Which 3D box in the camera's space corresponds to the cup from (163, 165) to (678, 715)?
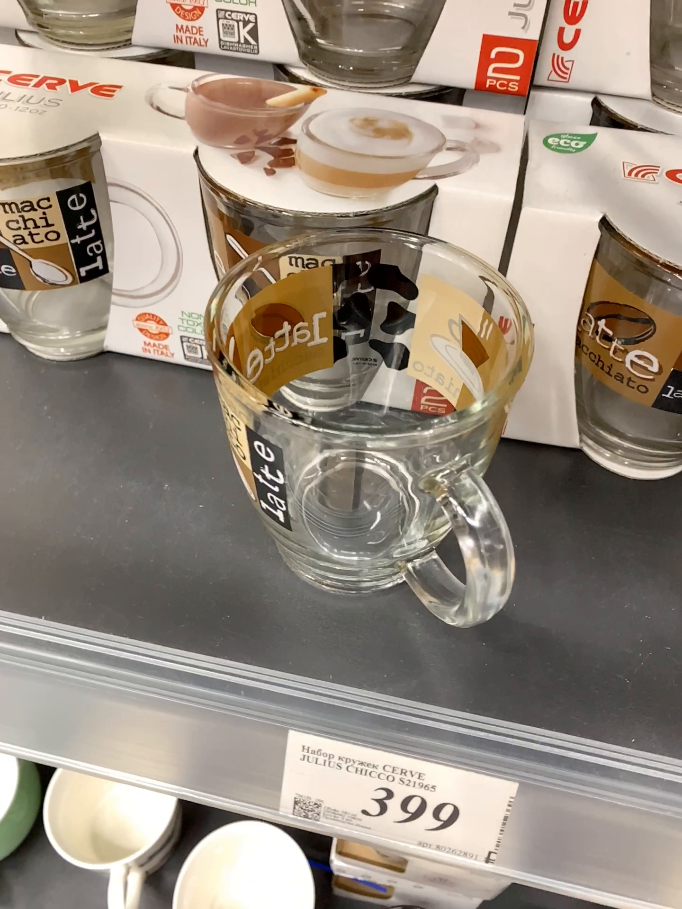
[{"bbox_3d":[0.010,-0.010,0.209,0.084,0.086,0.119,-16,52,-16],"label":"cup"}]
